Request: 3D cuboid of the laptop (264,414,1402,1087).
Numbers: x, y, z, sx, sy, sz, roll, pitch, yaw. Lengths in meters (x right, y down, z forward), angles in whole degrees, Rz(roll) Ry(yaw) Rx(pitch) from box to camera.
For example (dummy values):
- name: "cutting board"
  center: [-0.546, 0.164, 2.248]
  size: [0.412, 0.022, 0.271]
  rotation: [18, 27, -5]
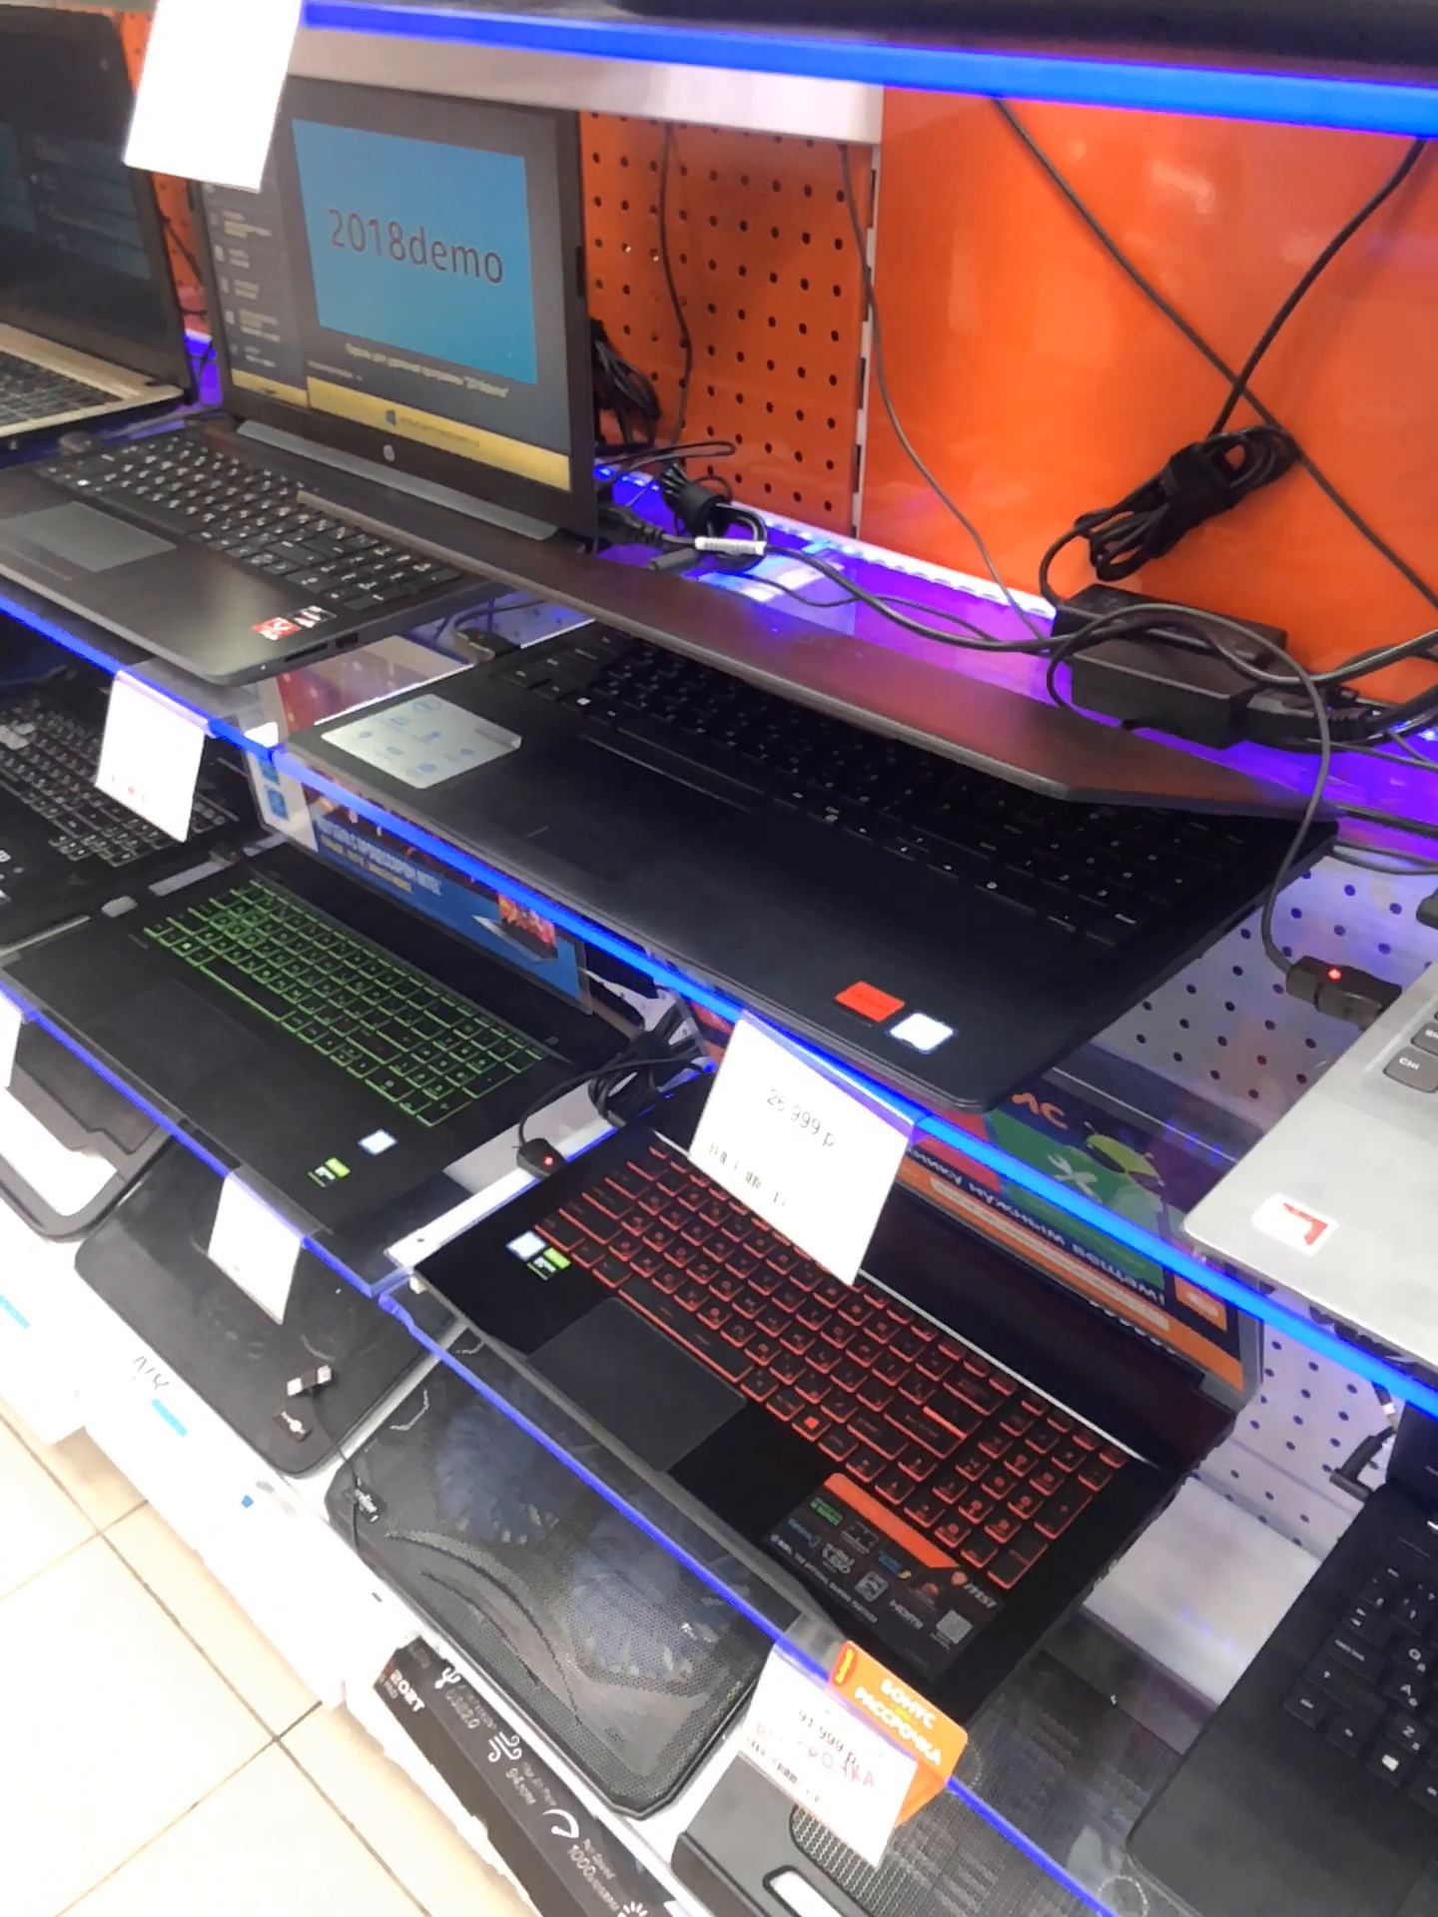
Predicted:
- name: "laptop"
  center: [0.031, -0.117, 0.639]
  size: [0.372, 0.100, 0.239]
  rotation: [27, 42, 36]
